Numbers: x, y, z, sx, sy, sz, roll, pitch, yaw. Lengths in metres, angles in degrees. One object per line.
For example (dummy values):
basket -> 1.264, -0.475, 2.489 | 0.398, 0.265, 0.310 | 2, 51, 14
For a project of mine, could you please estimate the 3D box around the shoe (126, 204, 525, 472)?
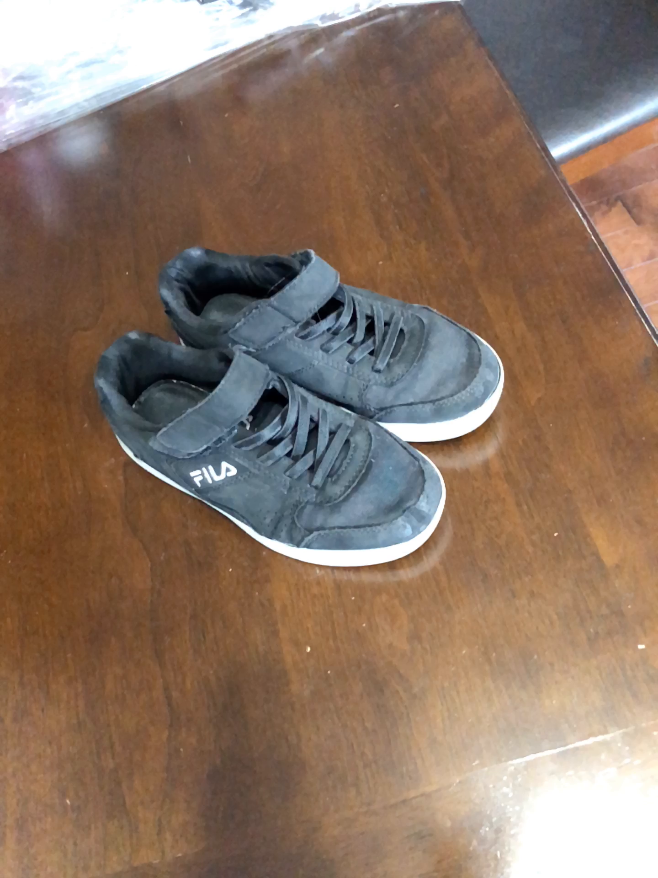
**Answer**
shoe -> 0.000, -0.065, 0.443 | 0.210, 0.080, 0.090 | 16, 67, 21

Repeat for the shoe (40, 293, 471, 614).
shoe -> -0.038, 0.004, 0.408 | 0.210, 0.080, 0.090 | 20, 69, 22
